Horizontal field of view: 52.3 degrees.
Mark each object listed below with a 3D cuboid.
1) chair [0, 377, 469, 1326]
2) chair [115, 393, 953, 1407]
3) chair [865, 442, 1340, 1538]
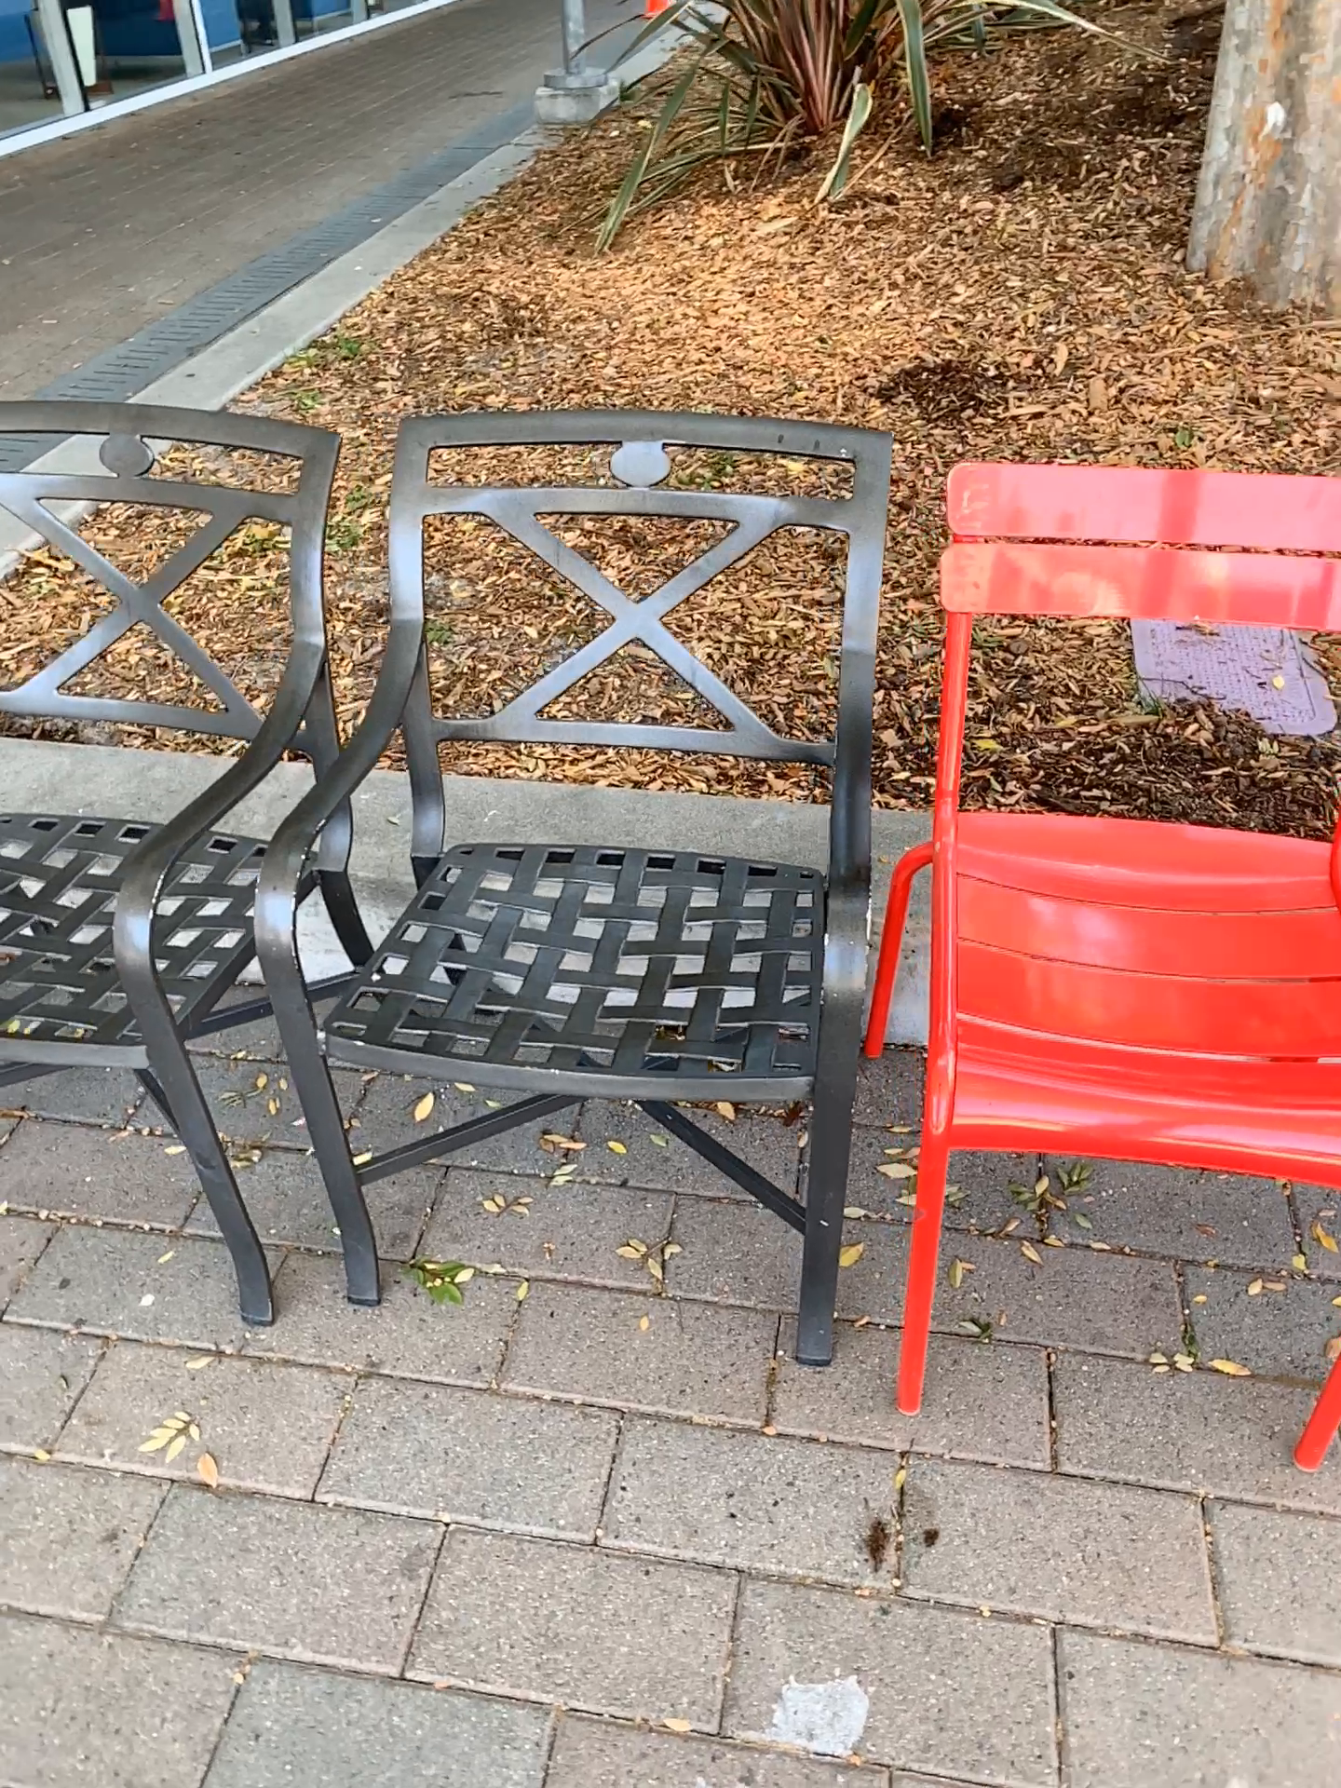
[{"bbox_3d":[-0.683,-0.074,1.614,0.621,0.815,0.694,5,38,9],"label":"chair"},{"bbox_3d":[-0.051,-0.019,1.516,0.621,0.815,0.694,5,38,9],"label":"chair"},{"bbox_3d":[0.557,0.076,1.372,0.621,0.815,0.643,5,38,9],"label":"chair"}]
